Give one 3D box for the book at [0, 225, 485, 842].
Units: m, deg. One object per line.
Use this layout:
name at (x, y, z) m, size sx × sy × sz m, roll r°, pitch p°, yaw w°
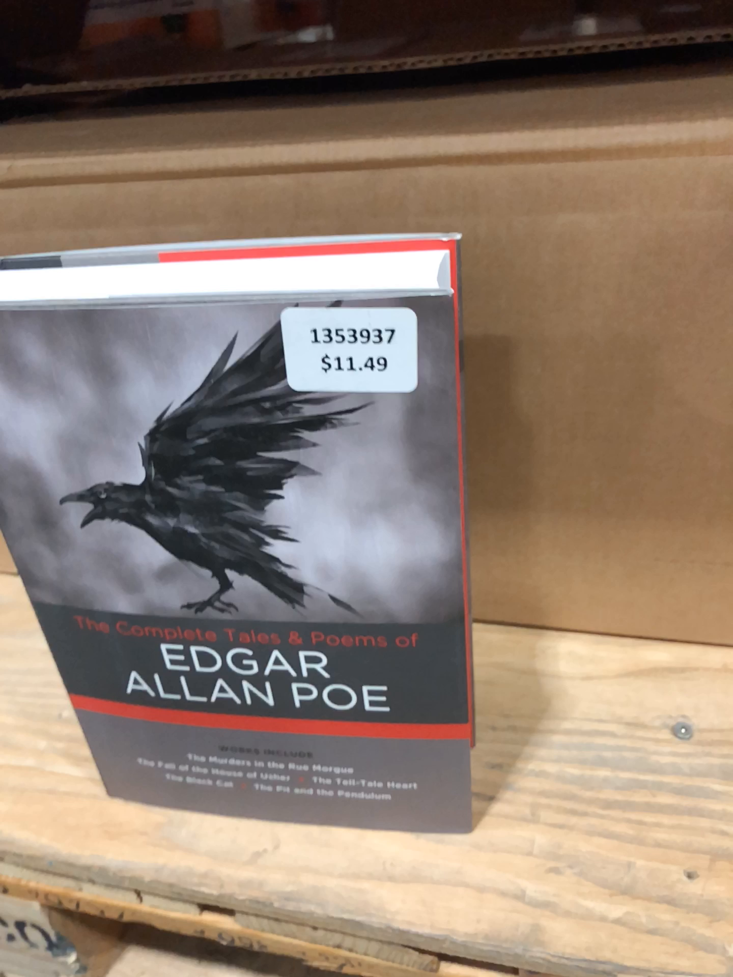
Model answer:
book at (-0.044, 0.031, 0.316) m, size 0.171 × 0.240 × 0.054 m, roll 1°, pitch 34°, yaw 11°
